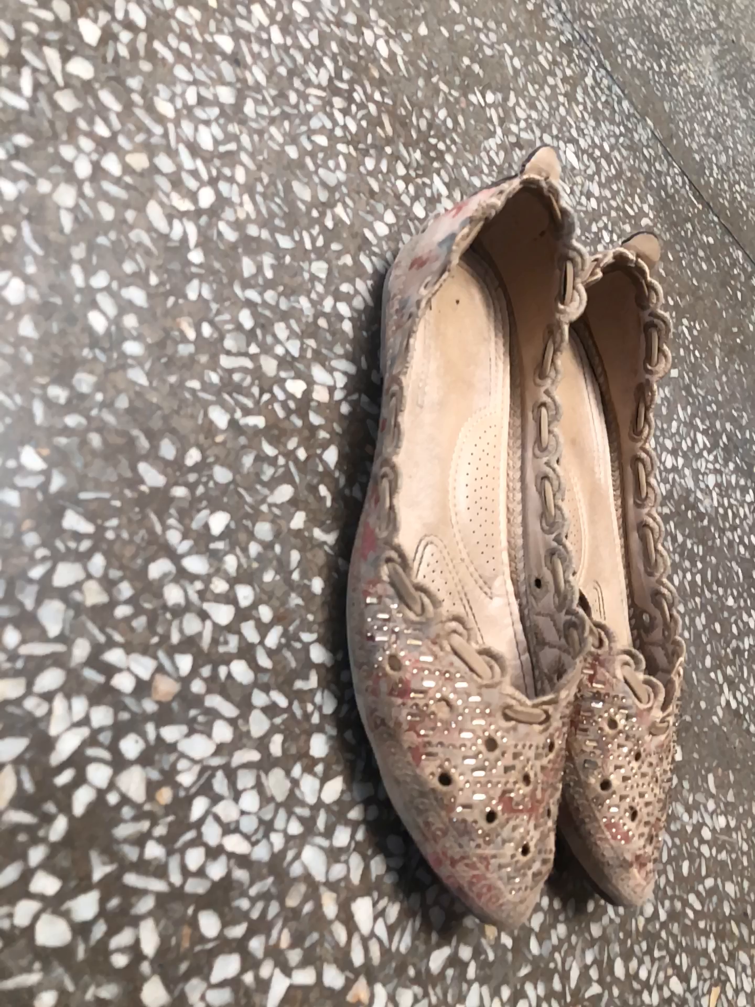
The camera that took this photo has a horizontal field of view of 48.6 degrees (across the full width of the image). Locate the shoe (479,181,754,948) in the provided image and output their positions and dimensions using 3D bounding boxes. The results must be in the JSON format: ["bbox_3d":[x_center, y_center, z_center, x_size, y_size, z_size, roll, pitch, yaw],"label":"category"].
[{"bbox_3d":[0.106,0.019,0.326,0.090,0.068,0.254,12,68,-44],"label":"shoe"}]

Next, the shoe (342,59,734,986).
[{"bbox_3d":[0.045,0.000,0.273,0.090,0.068,0.254,16,65,-42],"label":"shoe"}]
